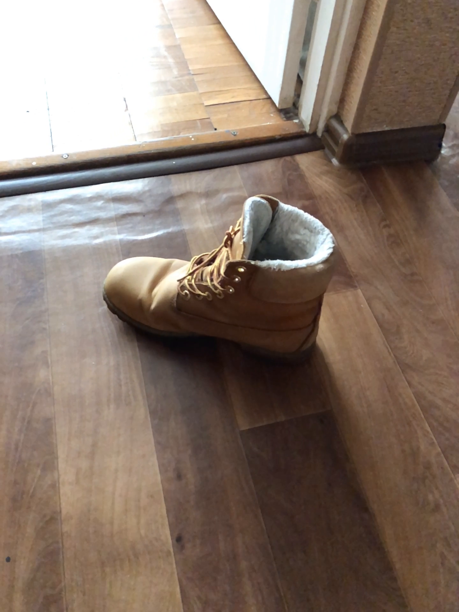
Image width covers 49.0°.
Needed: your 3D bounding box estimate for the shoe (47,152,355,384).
[{"bbox_3d":[-0.027,-0.039,0.584,0.290,0.179,0.121,14,55,7],"label":"shoe"}]
